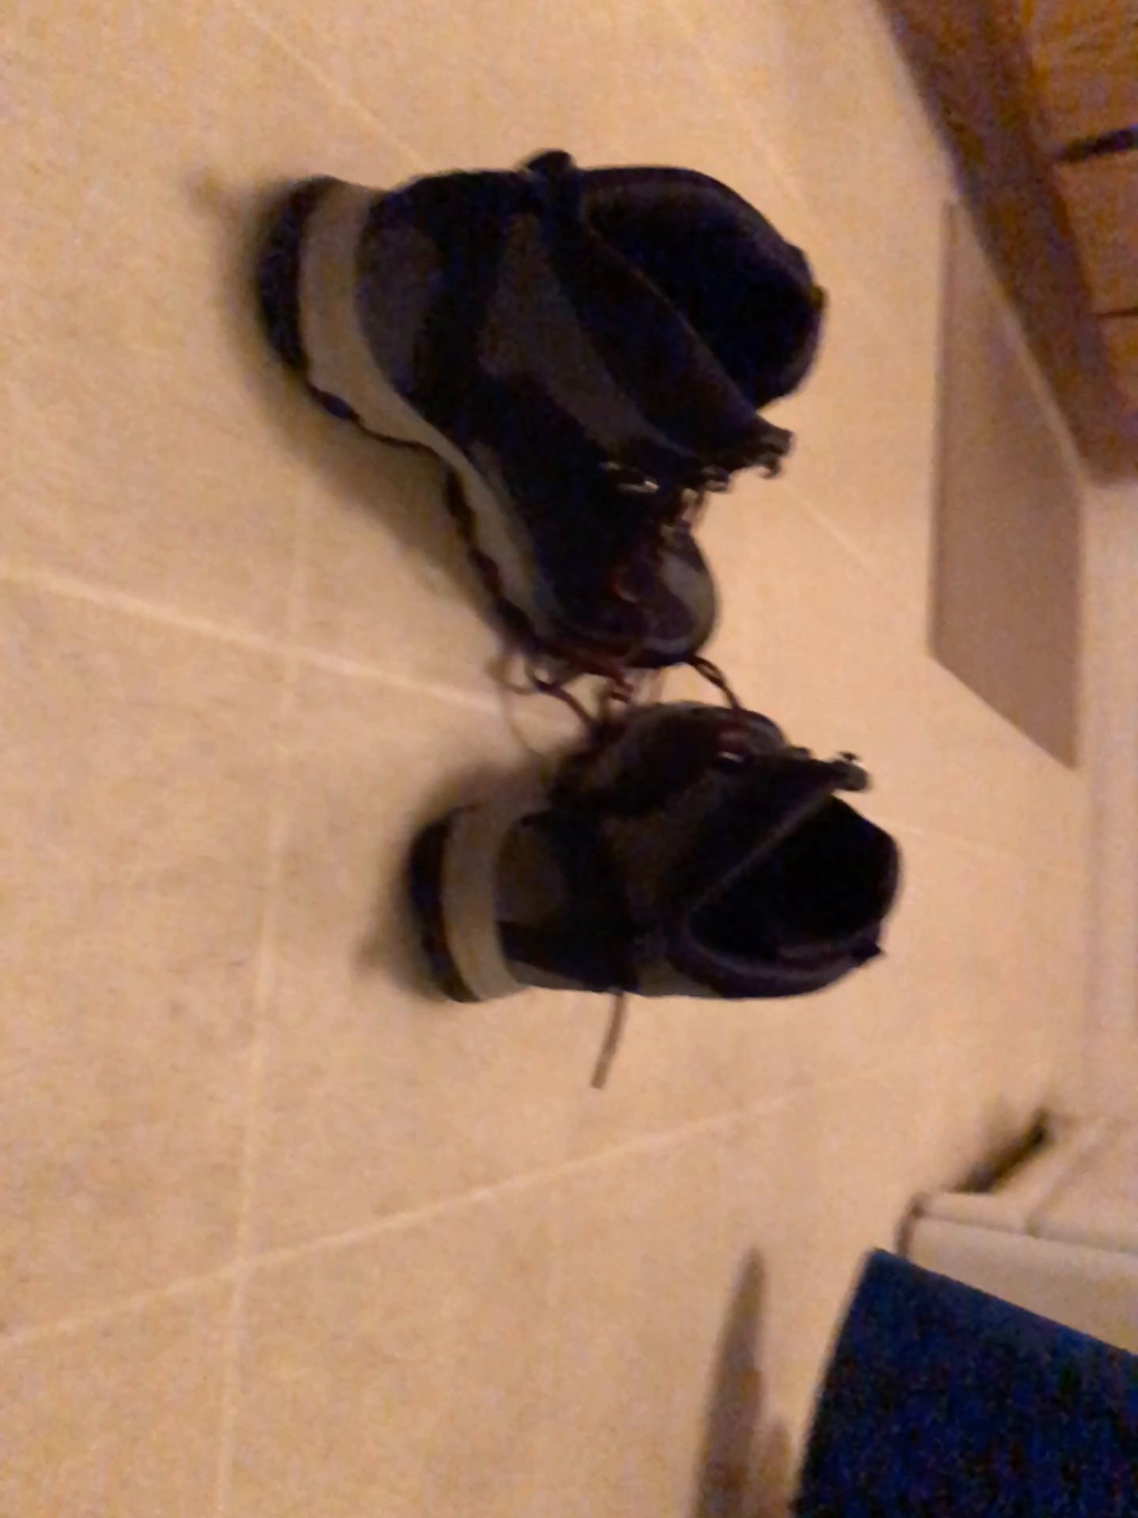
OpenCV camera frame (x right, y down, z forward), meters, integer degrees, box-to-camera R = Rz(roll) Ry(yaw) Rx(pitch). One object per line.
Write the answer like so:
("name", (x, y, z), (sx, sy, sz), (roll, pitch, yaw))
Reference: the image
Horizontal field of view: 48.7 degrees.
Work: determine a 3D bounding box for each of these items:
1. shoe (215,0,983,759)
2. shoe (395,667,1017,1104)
("shoe", (0.042, -0.130, 0.543), (0.310, 0.195, 0.126), (48, 50, -49))
("shoe", (0.090, 0.038, 0.625), (0.301, 0.195, 0.116), (-23, 110, -58))
